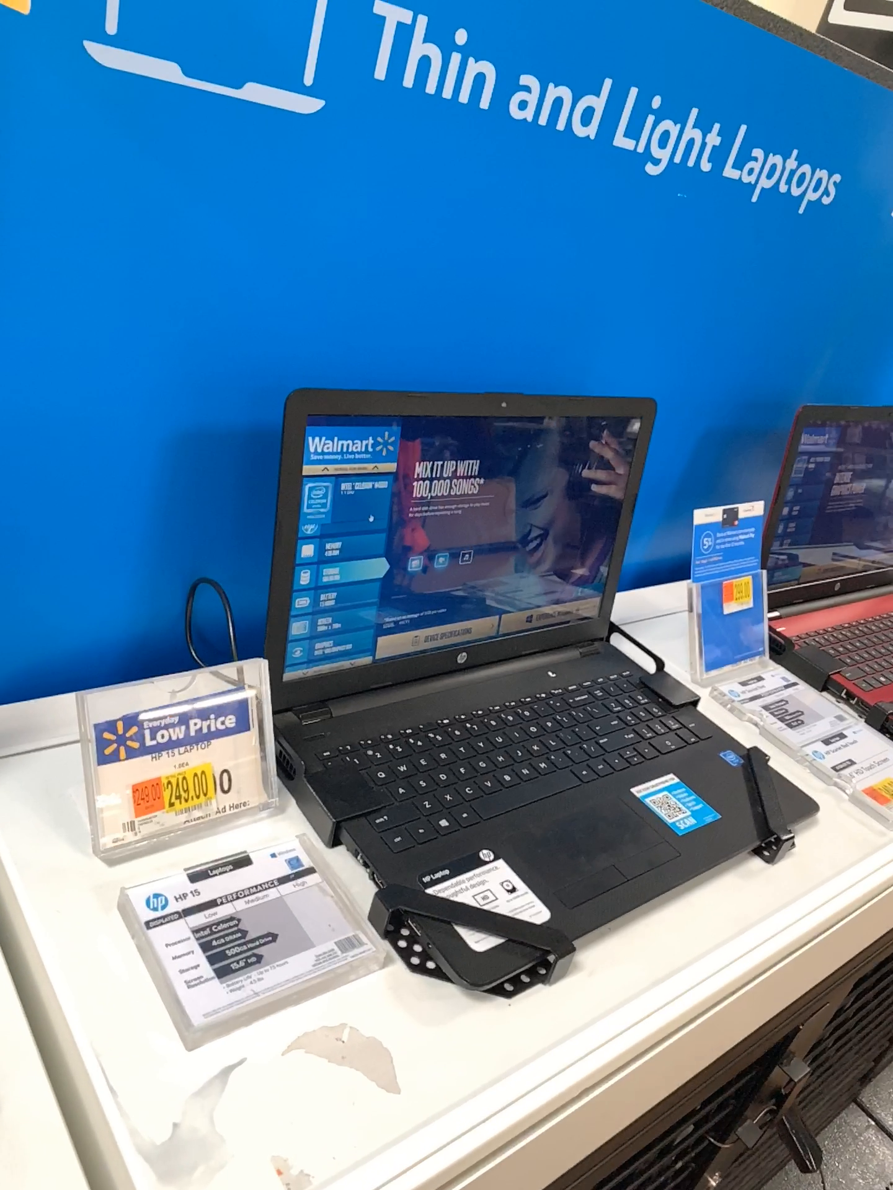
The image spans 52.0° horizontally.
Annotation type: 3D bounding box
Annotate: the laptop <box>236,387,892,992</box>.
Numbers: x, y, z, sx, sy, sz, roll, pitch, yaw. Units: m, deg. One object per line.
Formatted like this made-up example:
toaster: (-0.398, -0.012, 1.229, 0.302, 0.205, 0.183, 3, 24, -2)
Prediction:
laptop: (0.099, 0.020, 0.643, 0.364, 0.225, 0.286, -9, 37, -39)
